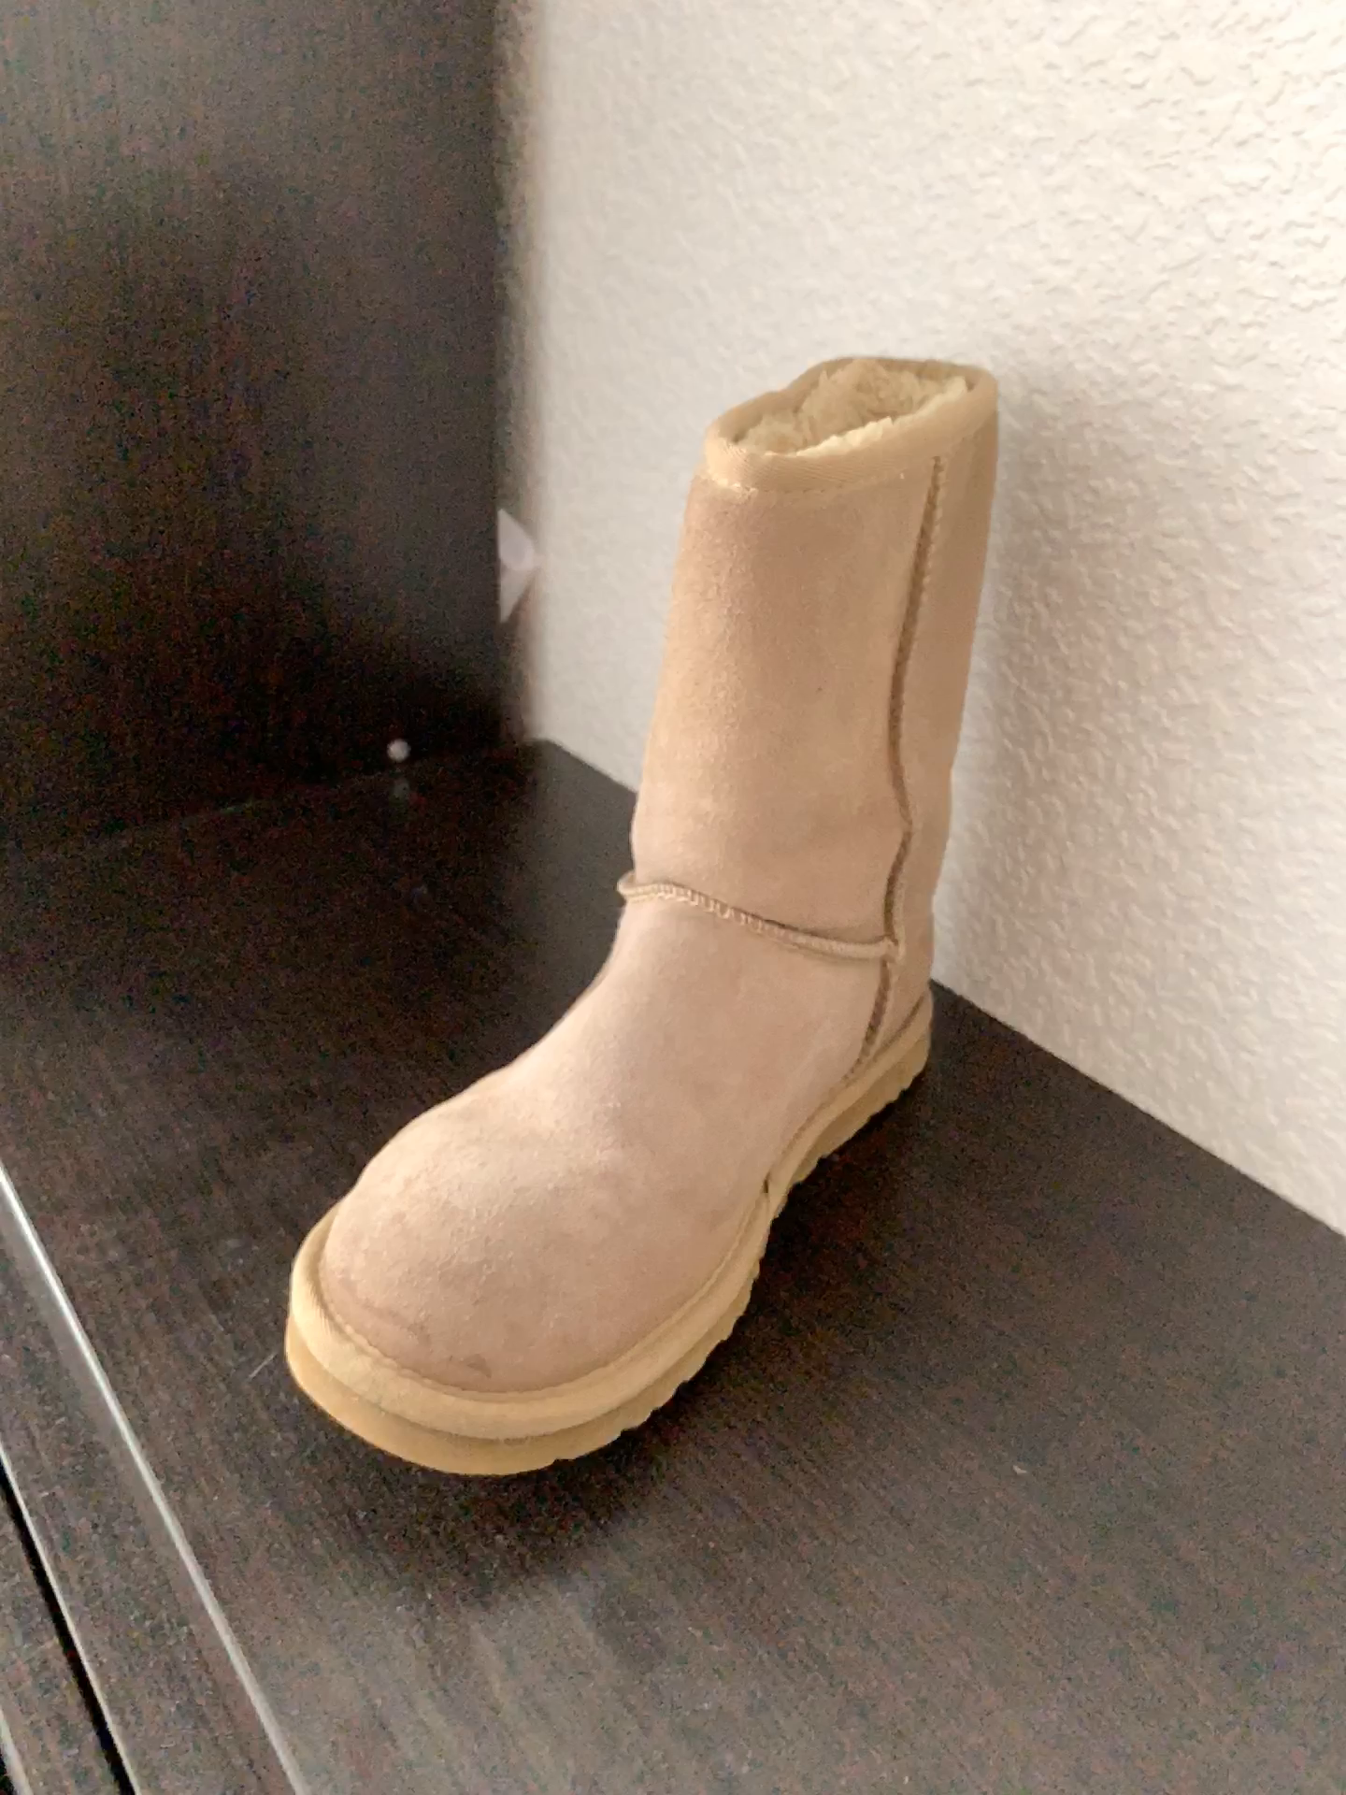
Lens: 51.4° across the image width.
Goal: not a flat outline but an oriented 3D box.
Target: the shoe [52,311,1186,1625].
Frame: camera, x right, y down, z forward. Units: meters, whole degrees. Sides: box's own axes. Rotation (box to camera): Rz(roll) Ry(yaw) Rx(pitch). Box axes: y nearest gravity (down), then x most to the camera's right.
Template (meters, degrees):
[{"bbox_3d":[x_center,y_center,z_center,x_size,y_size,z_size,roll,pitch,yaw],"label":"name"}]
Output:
[{"bbox_3d":[0.010,-0.014,0.364,0.116,0.229,0.261,21,34,29],"label":"shoe"}]
